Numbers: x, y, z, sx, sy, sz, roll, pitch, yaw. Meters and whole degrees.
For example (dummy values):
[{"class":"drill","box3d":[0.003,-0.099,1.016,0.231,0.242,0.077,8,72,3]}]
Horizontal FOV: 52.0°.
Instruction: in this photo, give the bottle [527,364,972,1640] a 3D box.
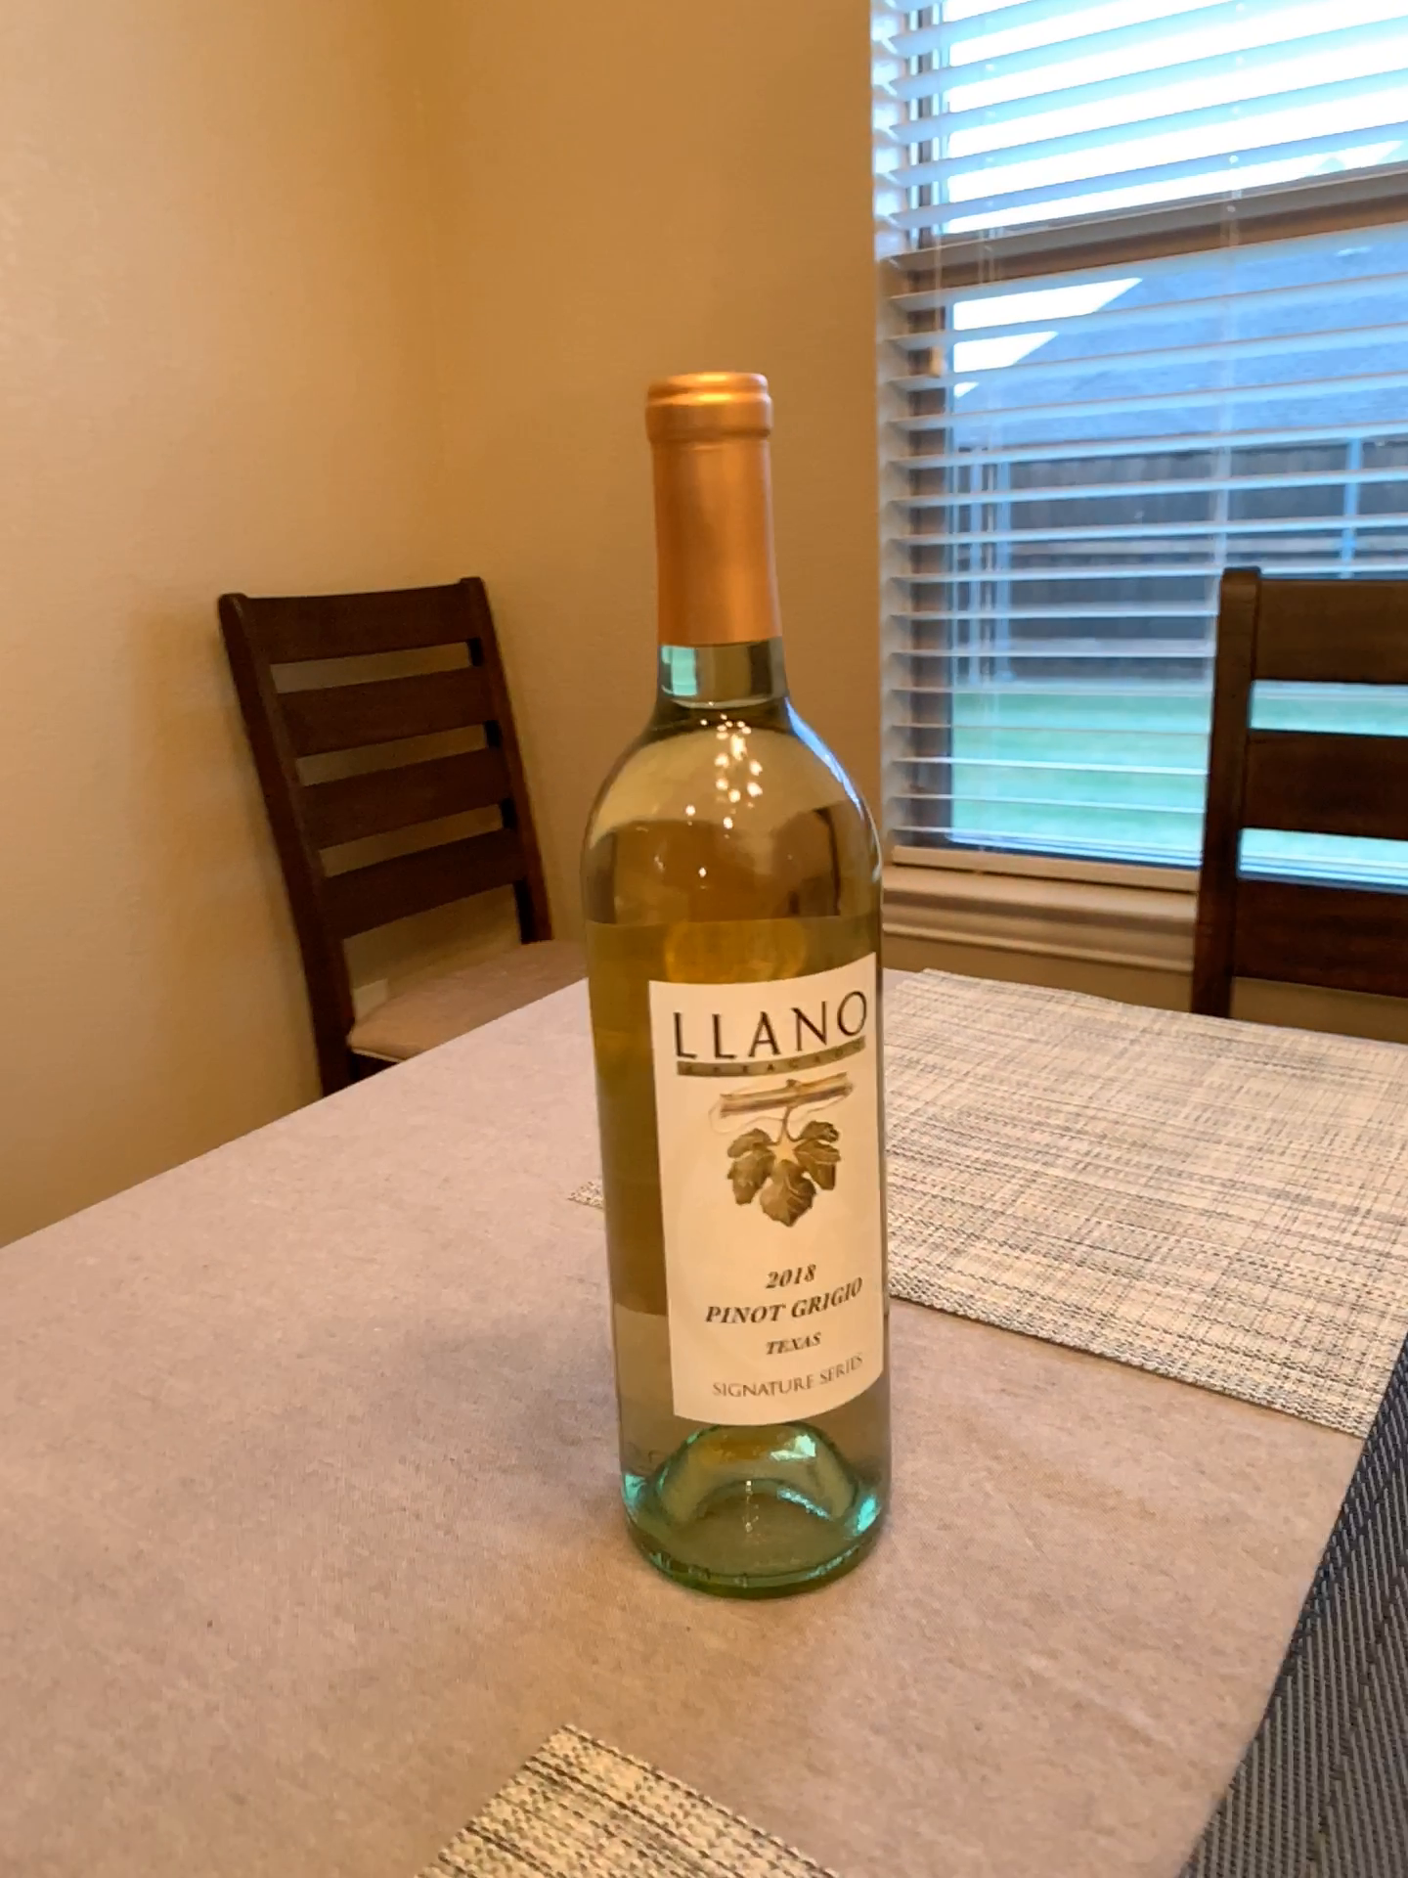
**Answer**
[{"class":"bottle","box3d":[0.013,0.017,0.371,0.083,0.299,0.080,-2,15,1]}]
